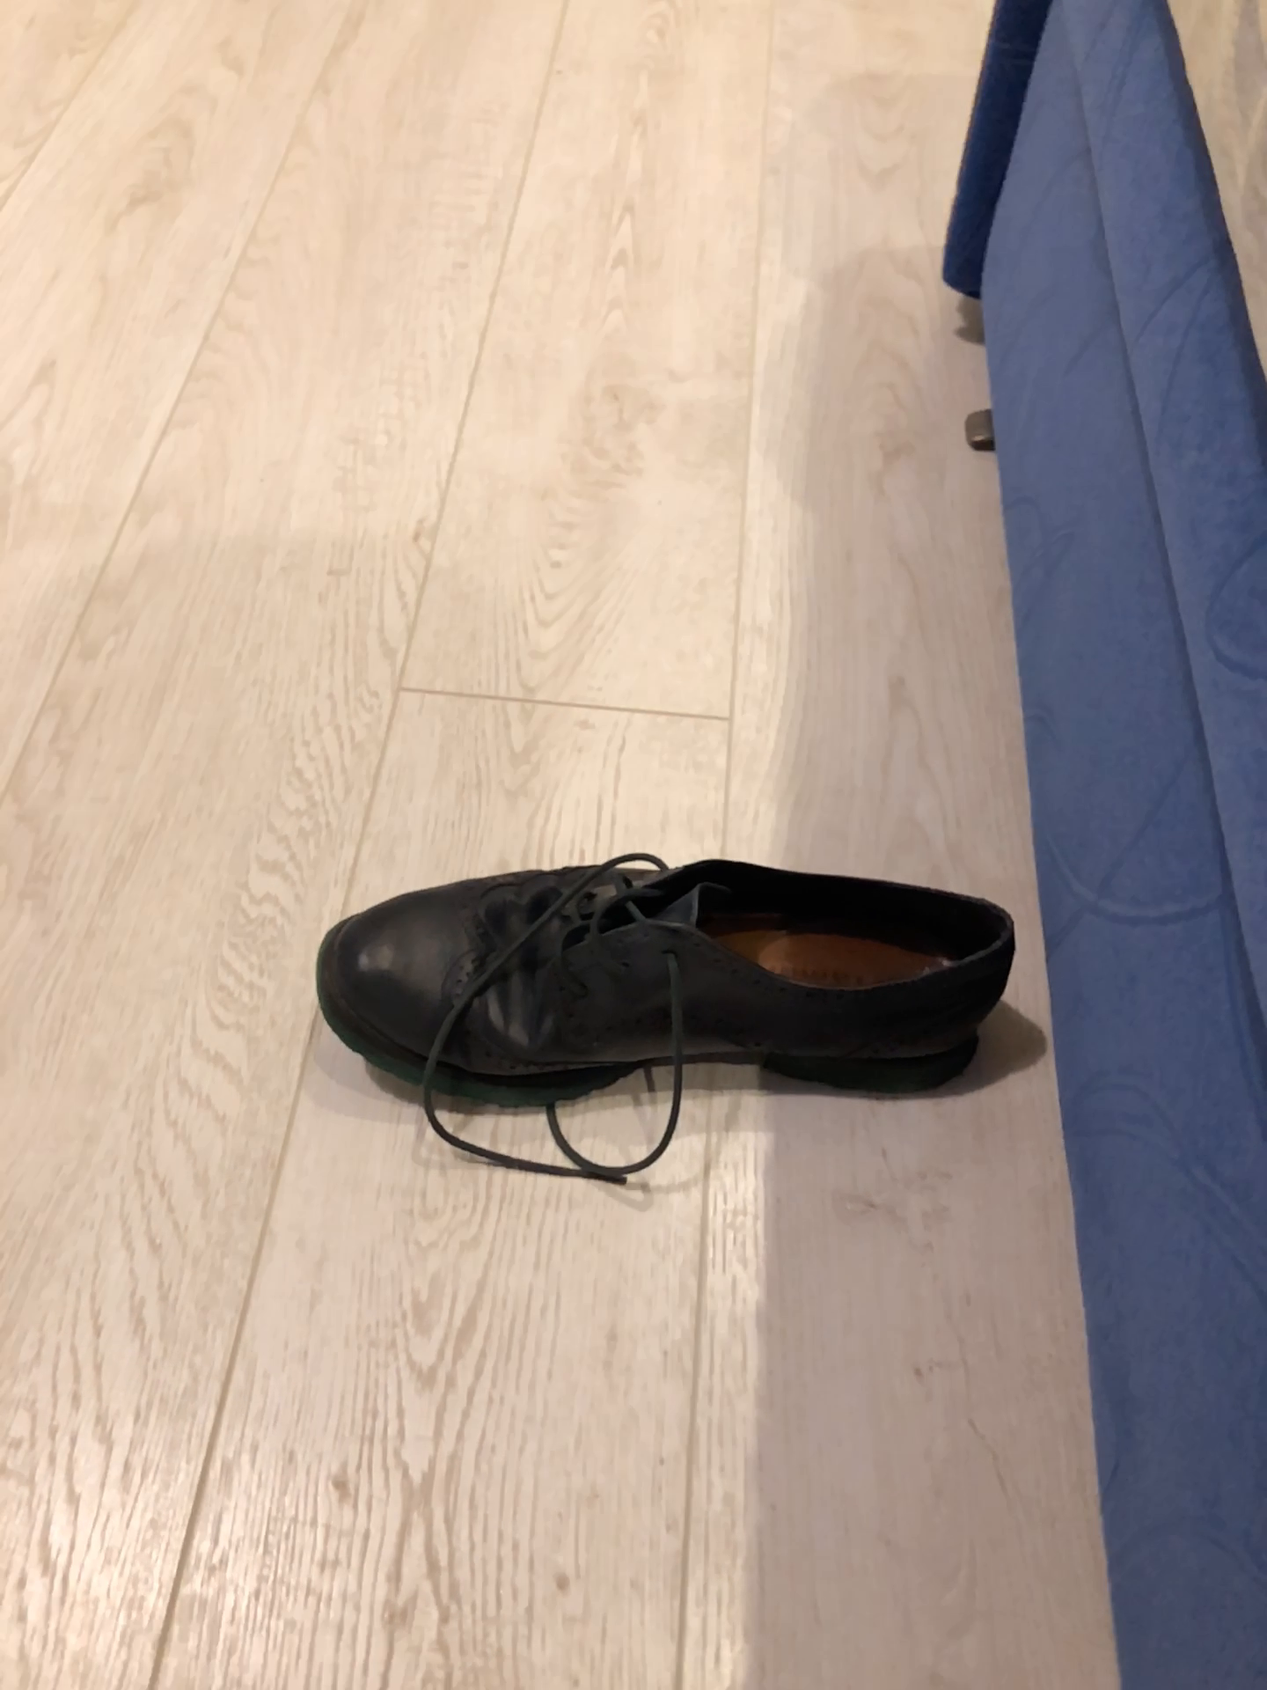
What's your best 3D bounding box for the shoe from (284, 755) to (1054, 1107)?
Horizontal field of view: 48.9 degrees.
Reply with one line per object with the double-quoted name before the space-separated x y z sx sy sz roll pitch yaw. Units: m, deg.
"shoe" 0.010 0.033 0.516 0.250 0.089 0.096 0 54 -3
